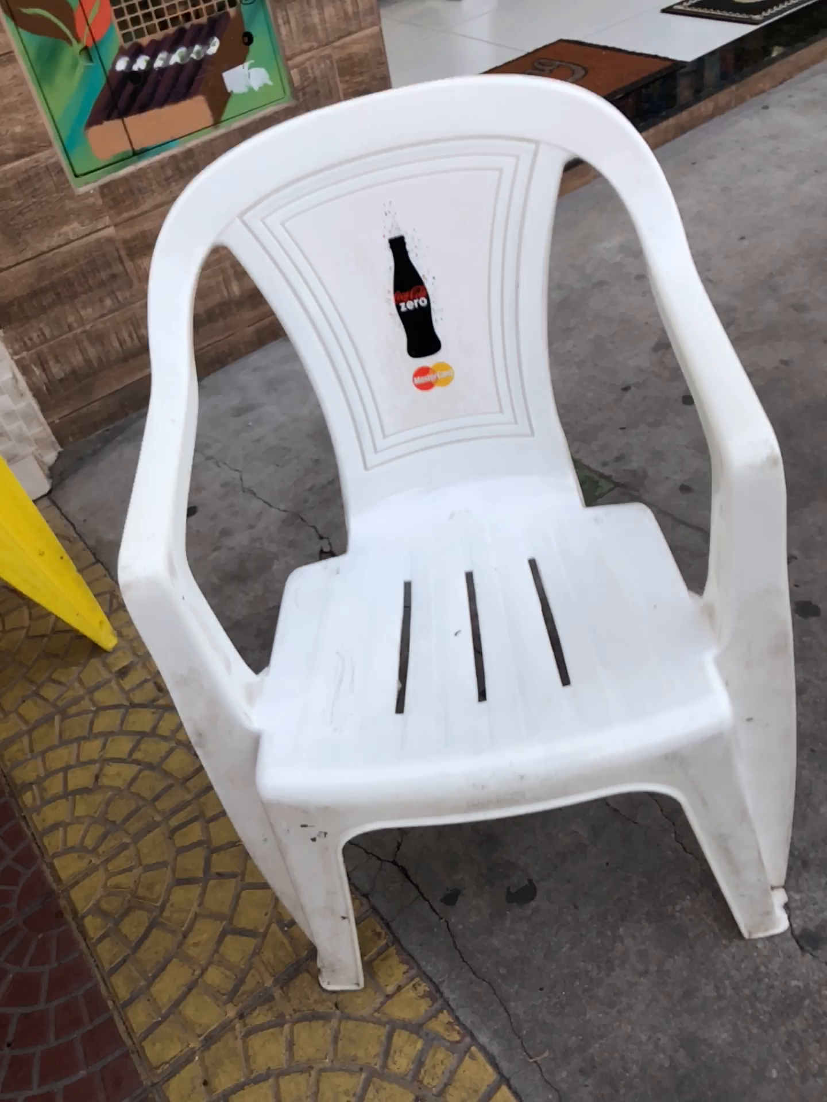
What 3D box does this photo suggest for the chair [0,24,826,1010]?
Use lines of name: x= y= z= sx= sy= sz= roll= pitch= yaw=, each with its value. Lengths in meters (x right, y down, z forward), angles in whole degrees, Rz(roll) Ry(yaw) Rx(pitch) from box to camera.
chair: x=0.004 y=0.002 z=0.940 sx=0.640 sy=0.745 sz=0.554 roll=-9 pitch=42 yaw=5
